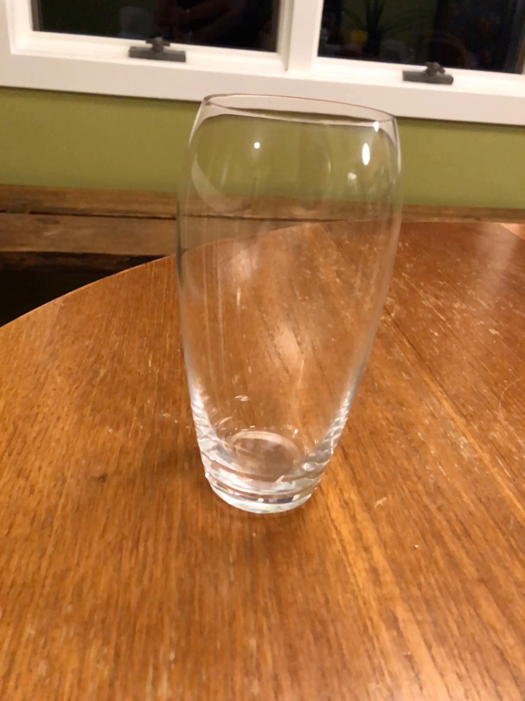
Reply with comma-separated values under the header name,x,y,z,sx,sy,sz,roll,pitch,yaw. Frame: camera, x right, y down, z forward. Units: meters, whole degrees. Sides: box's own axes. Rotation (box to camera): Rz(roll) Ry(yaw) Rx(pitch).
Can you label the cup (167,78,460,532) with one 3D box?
name,x,y,z,sx,sy,sz,roll,pitch,yaw
cup,0.004,-0.017,0.235,0.081,0.156,0.081,4,29,-2
